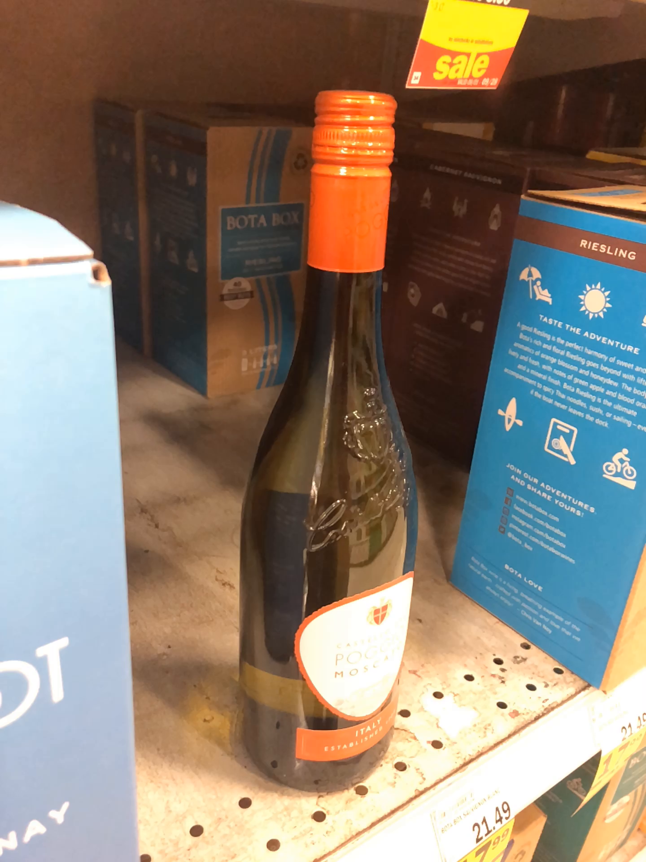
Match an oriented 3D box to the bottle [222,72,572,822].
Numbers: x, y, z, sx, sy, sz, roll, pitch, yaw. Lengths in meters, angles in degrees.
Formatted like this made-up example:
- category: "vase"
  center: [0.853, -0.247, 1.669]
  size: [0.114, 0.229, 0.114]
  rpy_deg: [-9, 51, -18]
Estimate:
- category: "bottle"
  center: [0.014, 0.021, 0.301]
  size: [0.080, 0.299, 0.070]
  rpy_deg: [-16, 35, -35]
